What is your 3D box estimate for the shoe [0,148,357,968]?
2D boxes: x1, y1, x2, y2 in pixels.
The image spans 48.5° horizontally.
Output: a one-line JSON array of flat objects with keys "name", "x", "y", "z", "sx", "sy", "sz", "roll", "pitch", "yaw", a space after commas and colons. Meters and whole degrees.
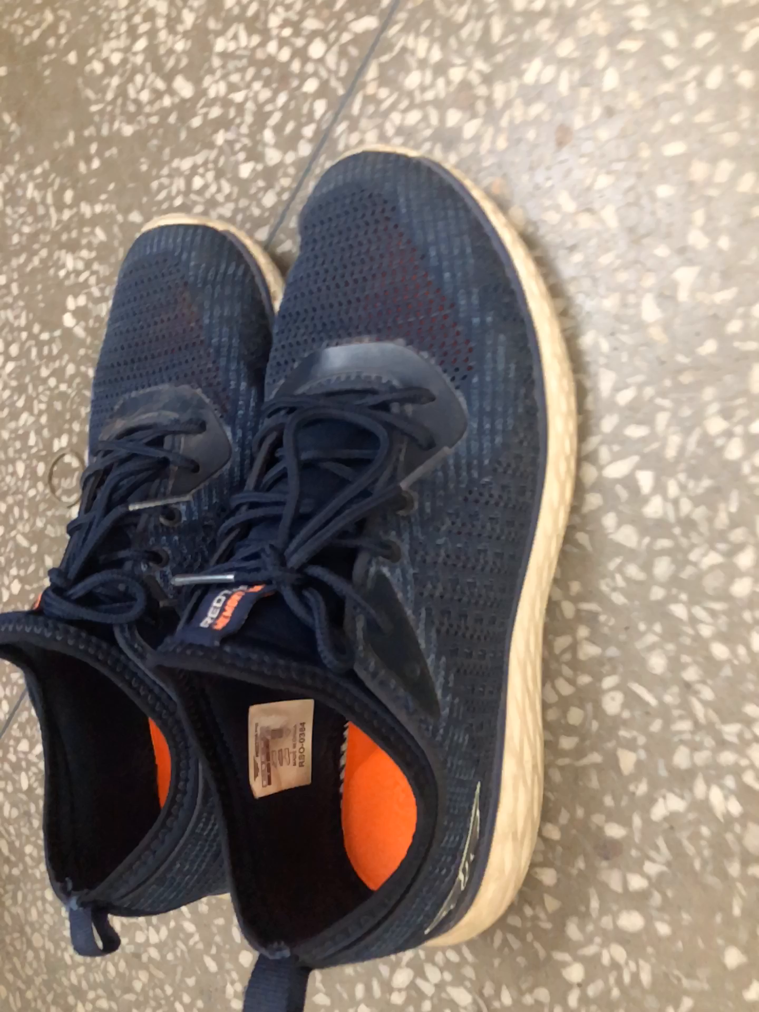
[{"name": "shoe", "x": -0.095, "y": 0.018, "z": 0.327, "sx": 0.114, "sy": 0.099, "sz": 0.249, "roll": -6, "pitch": 89, "yaw": 32}]

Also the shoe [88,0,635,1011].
[{"name": "shoe", "x": -0.003, "y": 0.003, "z": 0.269, "sx": 0.124, "sy": 0.099, "sz": 0.249, "roll": -4, "pitch": 90, "yaw": 32}]
